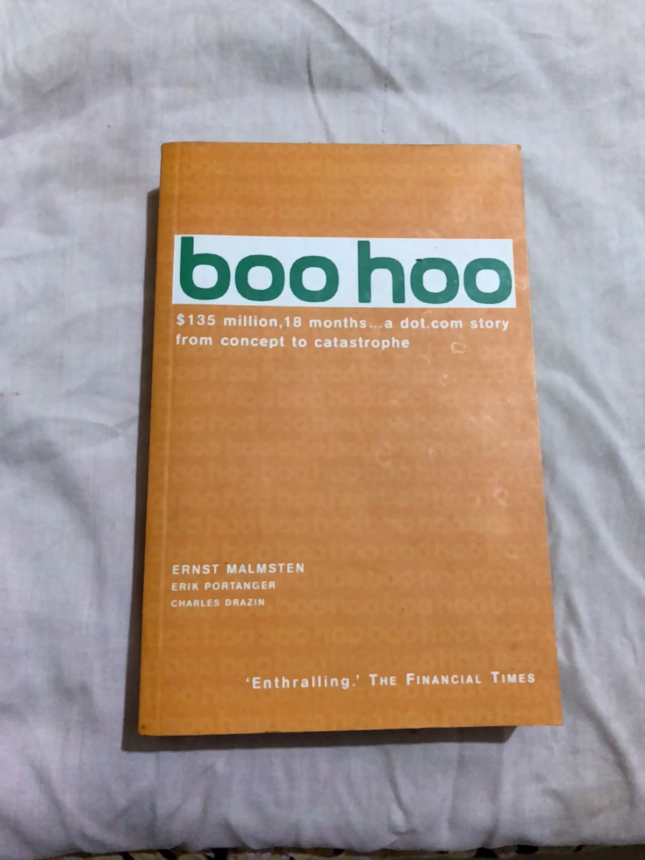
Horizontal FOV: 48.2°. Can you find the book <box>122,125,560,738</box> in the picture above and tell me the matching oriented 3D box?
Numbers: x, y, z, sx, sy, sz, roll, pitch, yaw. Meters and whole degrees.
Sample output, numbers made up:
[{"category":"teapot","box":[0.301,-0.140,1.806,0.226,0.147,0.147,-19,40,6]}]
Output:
[{"category":"book","box":[0.004,-0.004,0.253,0.130,0.040,0.200,-1,79,0]}]
